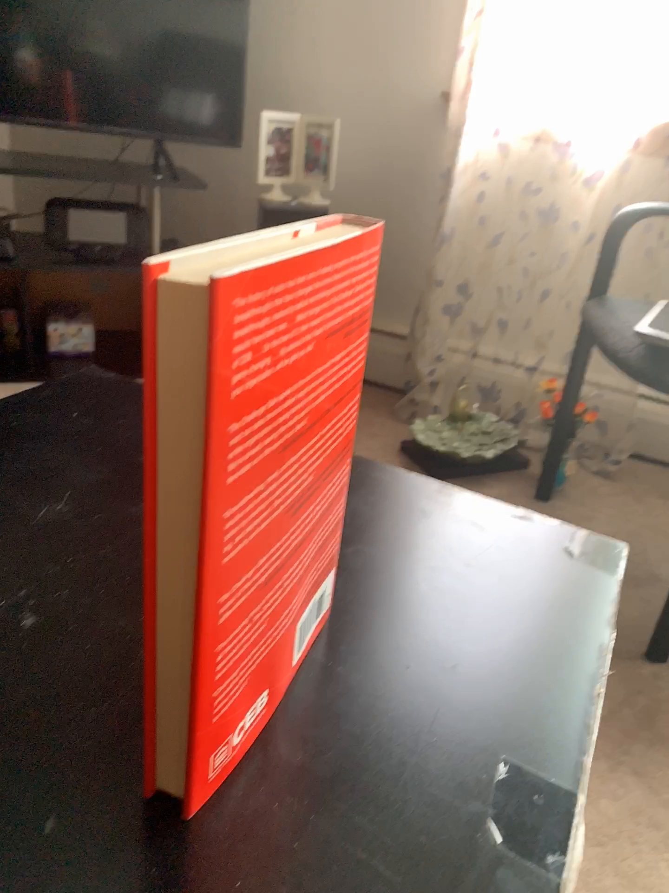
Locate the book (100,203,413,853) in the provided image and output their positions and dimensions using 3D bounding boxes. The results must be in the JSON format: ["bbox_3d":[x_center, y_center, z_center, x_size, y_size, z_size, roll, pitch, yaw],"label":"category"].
[{"bbox_3d":[-0.028,0.023,0.311,0.040,0.238,0.171,16,26,18],"label":"book"}]
